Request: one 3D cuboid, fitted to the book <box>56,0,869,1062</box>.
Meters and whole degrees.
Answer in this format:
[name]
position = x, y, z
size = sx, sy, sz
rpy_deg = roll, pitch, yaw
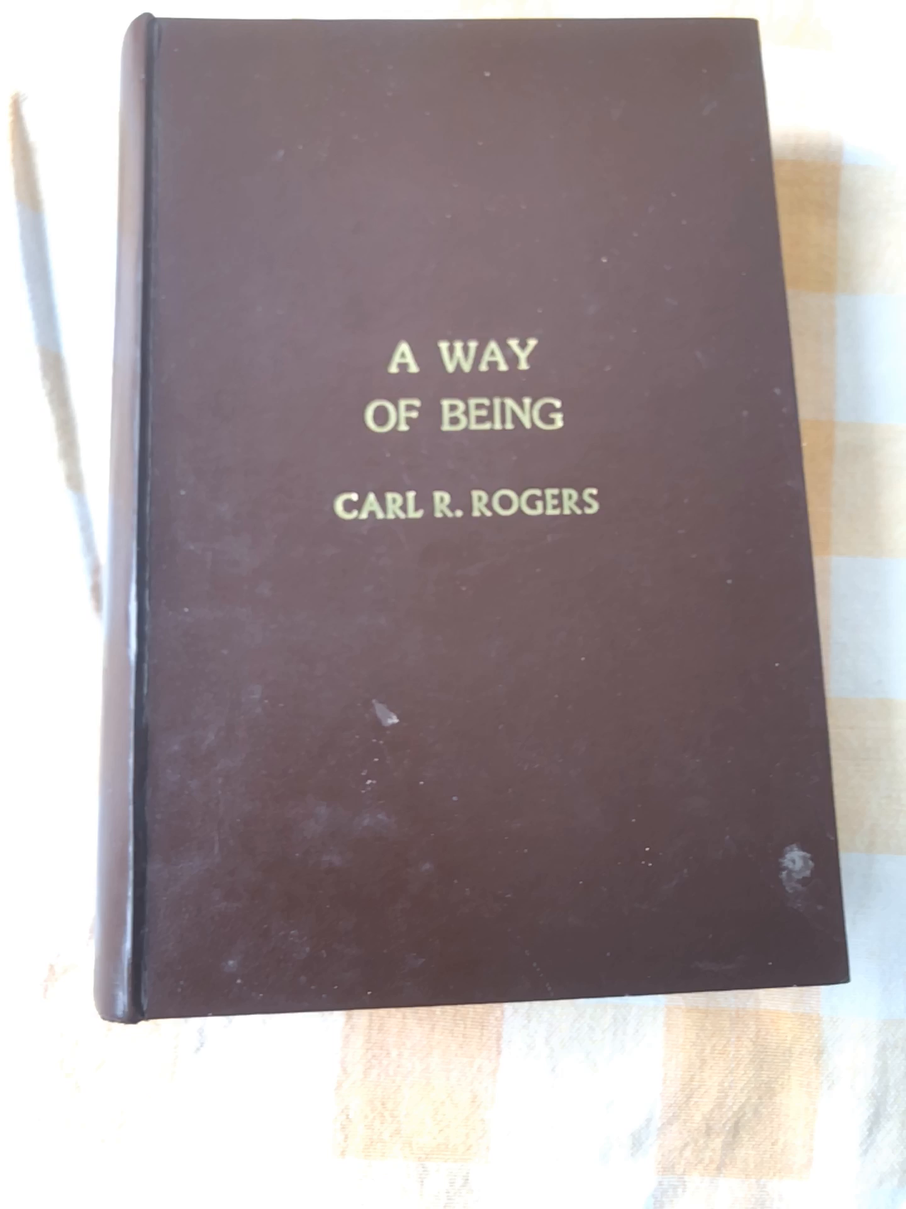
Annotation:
[book]
position = -0.001, -0.022, 0.224
size = 0.140, 0.060, 0.210
rpy_deg = -1, 80, -3
